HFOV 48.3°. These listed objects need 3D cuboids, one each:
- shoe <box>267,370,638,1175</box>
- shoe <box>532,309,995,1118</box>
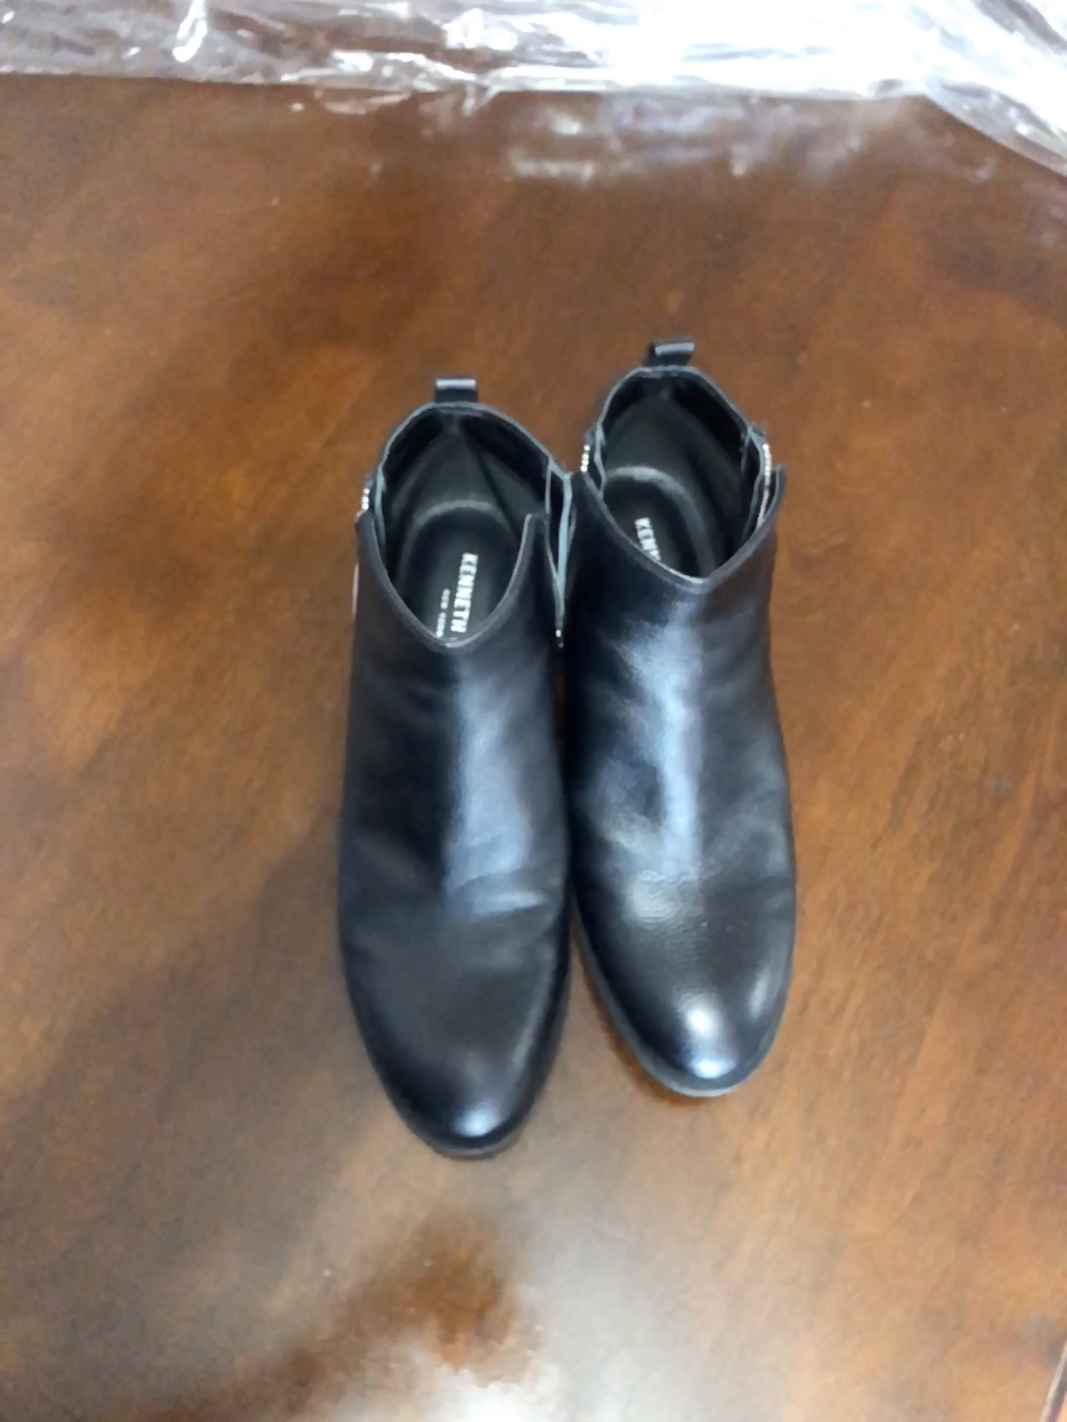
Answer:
[{"bbox_3d":[-0.029,0.024,0.433,0.100,0.130,0.260,-2,67,-3],"label":"shoe"},{"bbox_3d":[0.063,0.002,0.437,0.100,0.130,0.260,-4,67,-4],"label":"shoe"}]
